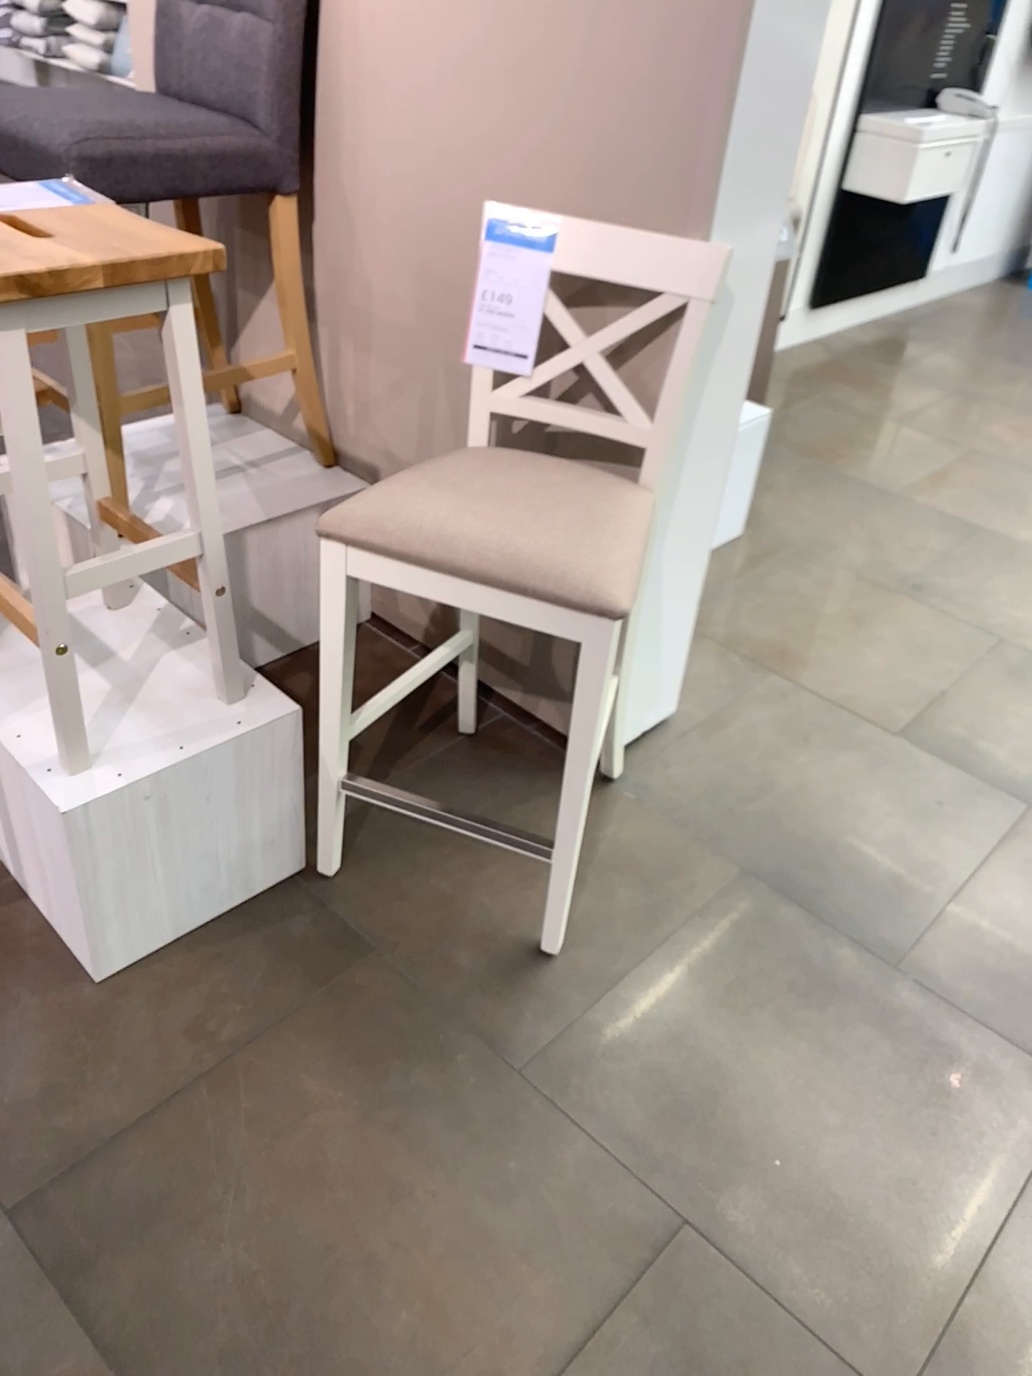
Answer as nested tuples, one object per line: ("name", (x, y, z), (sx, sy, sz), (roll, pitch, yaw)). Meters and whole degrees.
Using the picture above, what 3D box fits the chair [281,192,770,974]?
("chair", (0.004, -0.159, 1.584), (0.450, 0.938, 0.542), (17, 36, 15))
